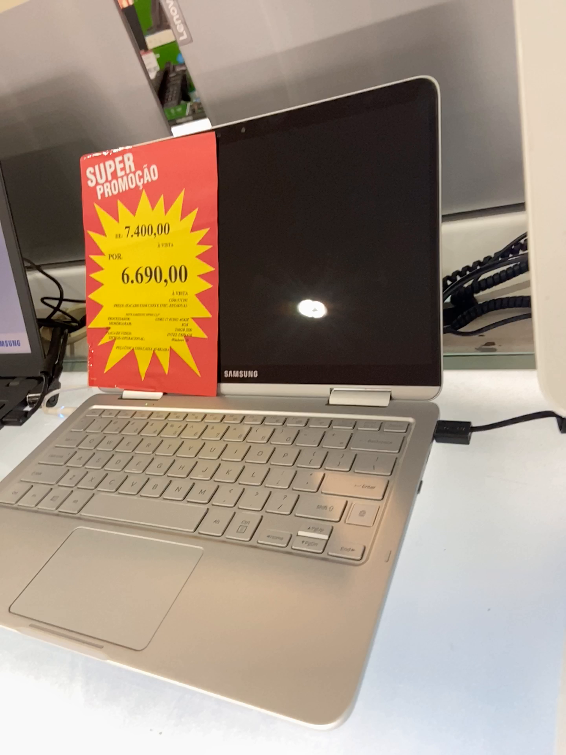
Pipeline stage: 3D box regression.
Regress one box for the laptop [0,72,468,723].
[{"bbox_3d":[-0.077,-0.027,0.366,0.305,0.170,0.311,-1,35,29],"label":"laptop"}]
